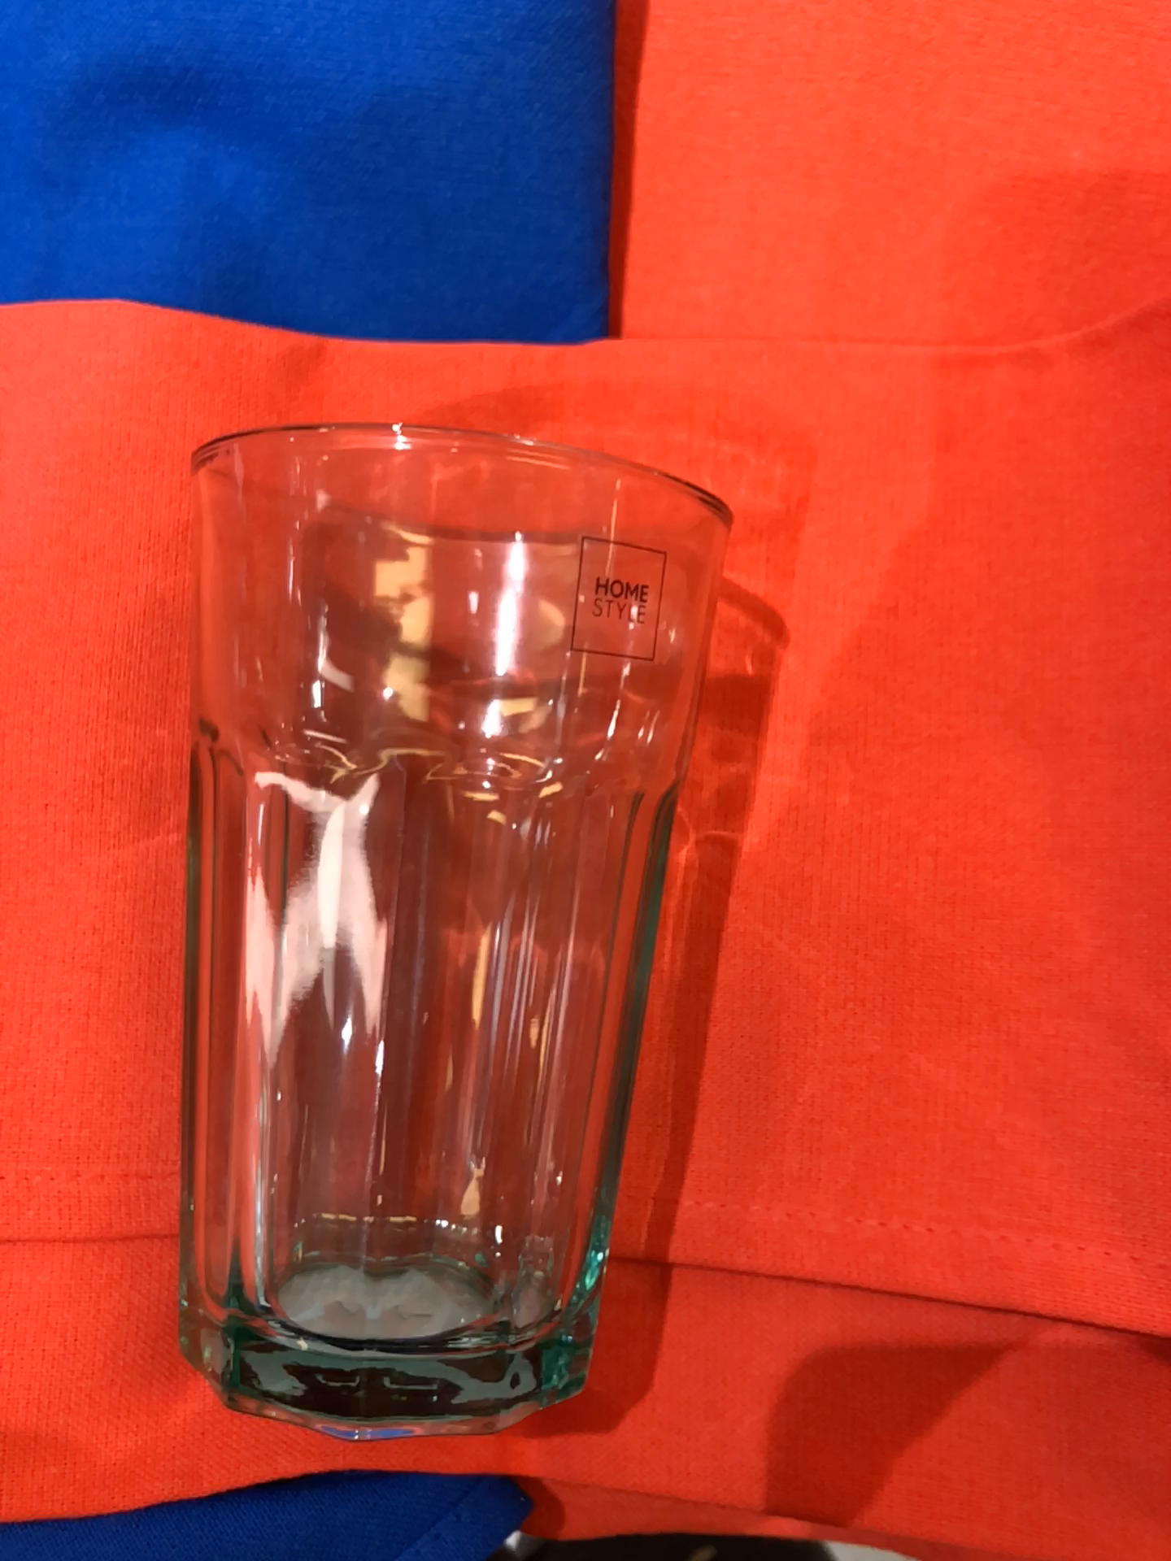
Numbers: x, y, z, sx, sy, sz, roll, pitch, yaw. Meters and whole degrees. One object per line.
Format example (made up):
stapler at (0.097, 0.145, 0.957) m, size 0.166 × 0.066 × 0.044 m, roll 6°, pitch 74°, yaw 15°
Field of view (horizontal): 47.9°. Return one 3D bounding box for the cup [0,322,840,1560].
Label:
cup at (-0.019, 0.023, 0.196) m, size 0.090 × 0.070 × 0.150 m, roll 5°, pitch 87°, yaw 1°
